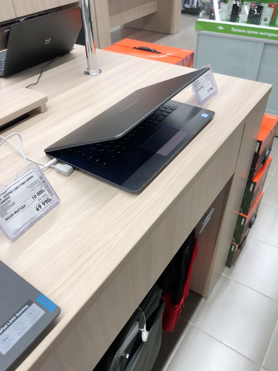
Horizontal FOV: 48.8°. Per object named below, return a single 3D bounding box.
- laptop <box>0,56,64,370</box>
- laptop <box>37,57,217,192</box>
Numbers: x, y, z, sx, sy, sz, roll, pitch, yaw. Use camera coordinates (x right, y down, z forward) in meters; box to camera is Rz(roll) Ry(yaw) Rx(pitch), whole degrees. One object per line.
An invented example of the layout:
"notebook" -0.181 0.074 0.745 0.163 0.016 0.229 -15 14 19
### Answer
"laptop" -0.352 0.081 0.259 0.377 0.231 0.349 22 43 25
"laptop" -0.005 -0.161 0.674 0.221 0.099 0.346 23 46 24
